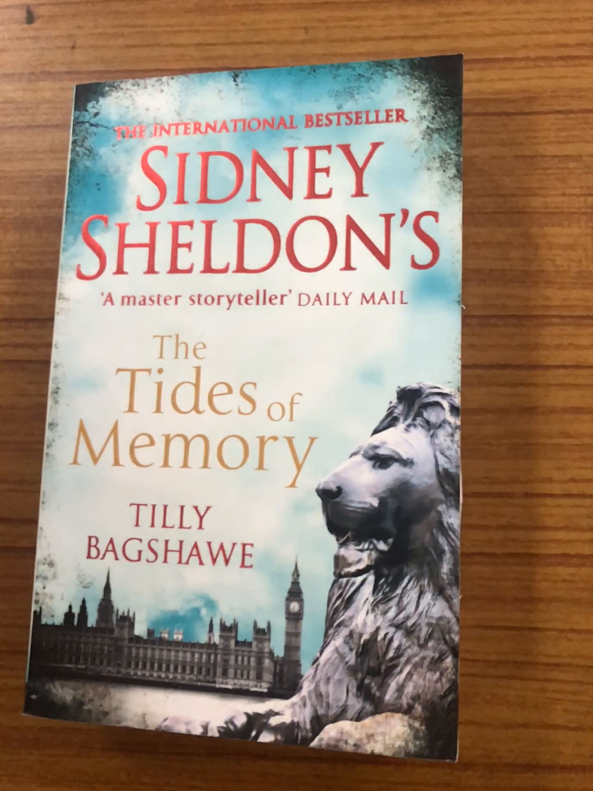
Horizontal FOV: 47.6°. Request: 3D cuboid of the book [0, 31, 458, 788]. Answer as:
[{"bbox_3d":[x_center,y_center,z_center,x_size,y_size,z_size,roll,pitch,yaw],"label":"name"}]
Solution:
[{"bbox_3d":[-0.021,-0.001,0.177,0.122,0.037,0.168,1,83,10],"label":"book"}]
